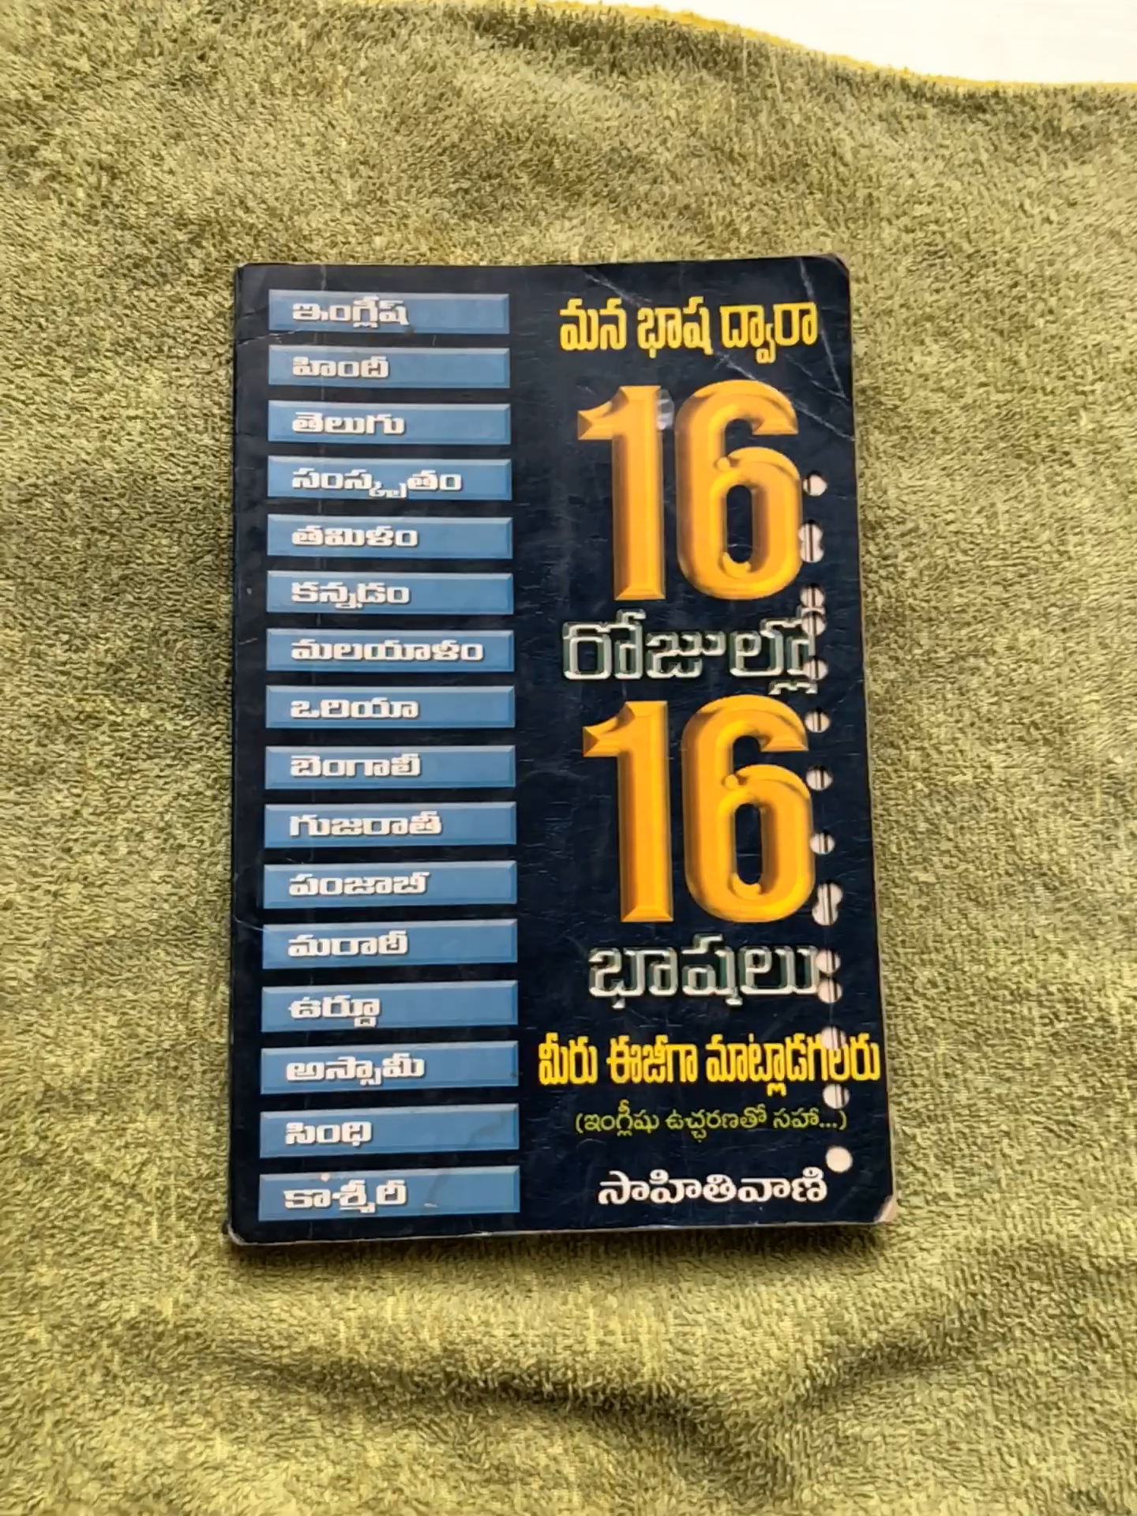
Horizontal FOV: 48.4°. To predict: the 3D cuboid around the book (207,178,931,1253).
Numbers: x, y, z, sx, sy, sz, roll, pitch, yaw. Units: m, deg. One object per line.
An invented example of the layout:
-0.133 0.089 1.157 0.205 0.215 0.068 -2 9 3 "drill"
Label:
-0.001 -0.013 0.273 0.140 0.030 0.220 -1 83 -1 "book"
